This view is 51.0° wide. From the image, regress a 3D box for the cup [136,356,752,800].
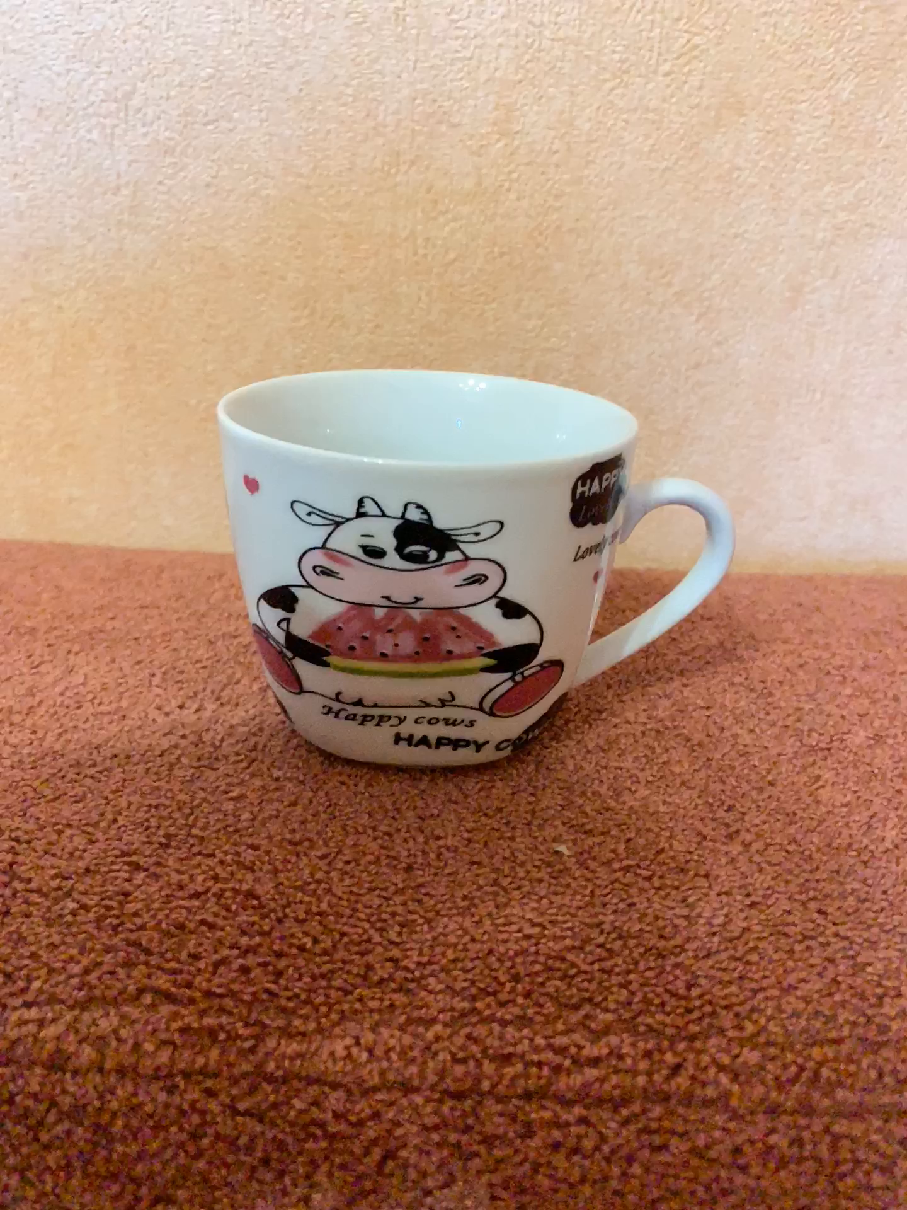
[{"bbox_3d":[0.001,-0.012,0.192,0.094,0.056,0.079,4,25,6],"label":"cup"}]
